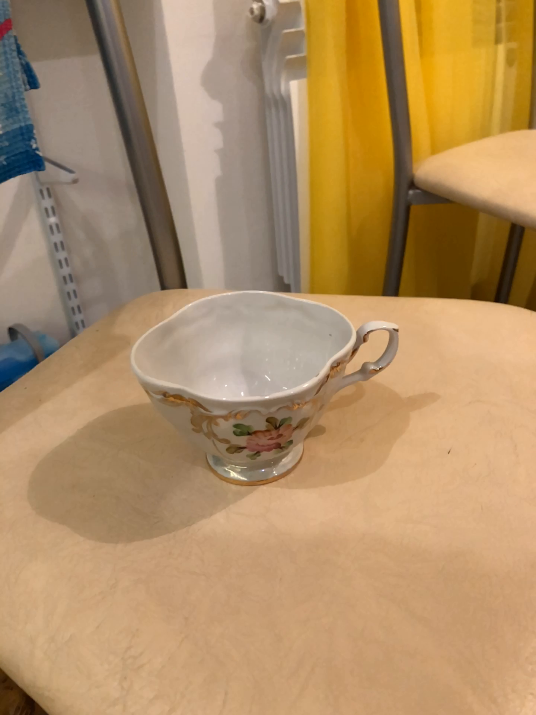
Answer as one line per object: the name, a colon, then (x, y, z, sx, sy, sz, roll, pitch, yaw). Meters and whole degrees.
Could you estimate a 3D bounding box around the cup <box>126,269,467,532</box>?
cup: (0.007, 0.014, 0.295, 0.139, 0.064, 0.101, -8, 32, -7)
